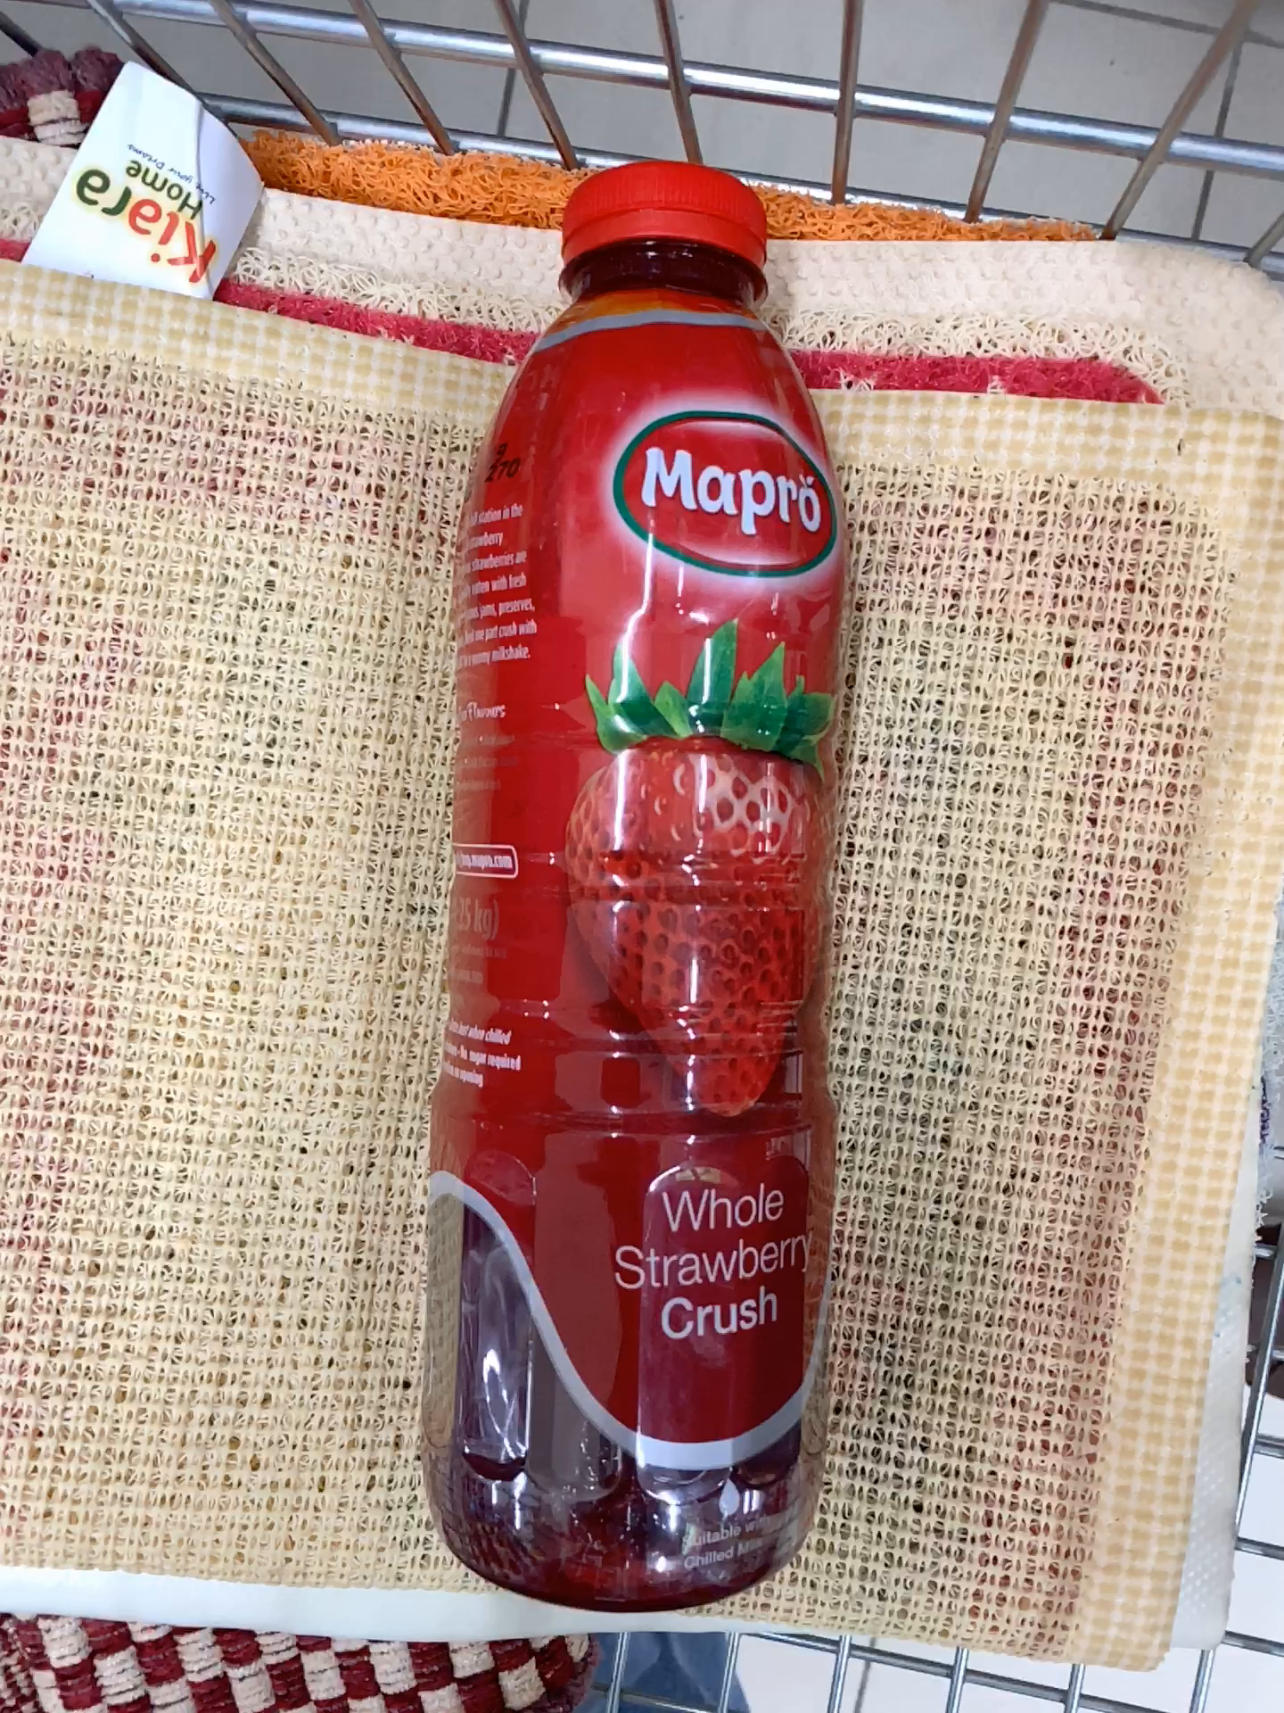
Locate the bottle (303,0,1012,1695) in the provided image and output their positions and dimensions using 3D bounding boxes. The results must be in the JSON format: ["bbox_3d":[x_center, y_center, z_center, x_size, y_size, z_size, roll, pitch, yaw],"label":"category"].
[{"bbox_3d":[-0.003,0.000,0.240,0.090,0.070,0.250,2,94,-25],"label":"bottle"}]
